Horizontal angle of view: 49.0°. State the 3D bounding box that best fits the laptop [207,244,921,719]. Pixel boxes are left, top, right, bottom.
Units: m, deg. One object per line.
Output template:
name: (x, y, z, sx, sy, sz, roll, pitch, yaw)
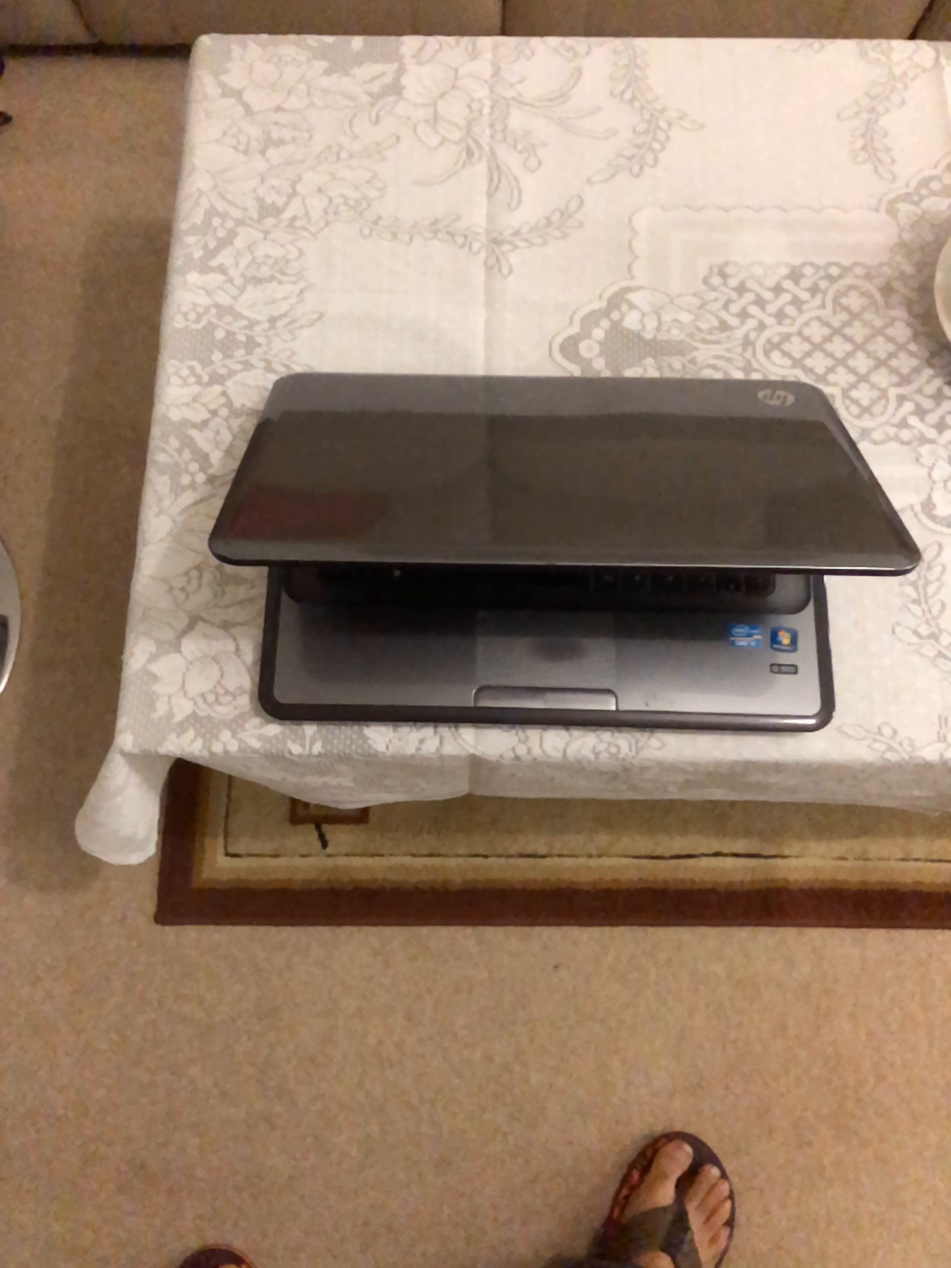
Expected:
laptop: (0.044, -0.085, 0.626, 0.360, 0.139, 0.238, 1, 73, 1)
